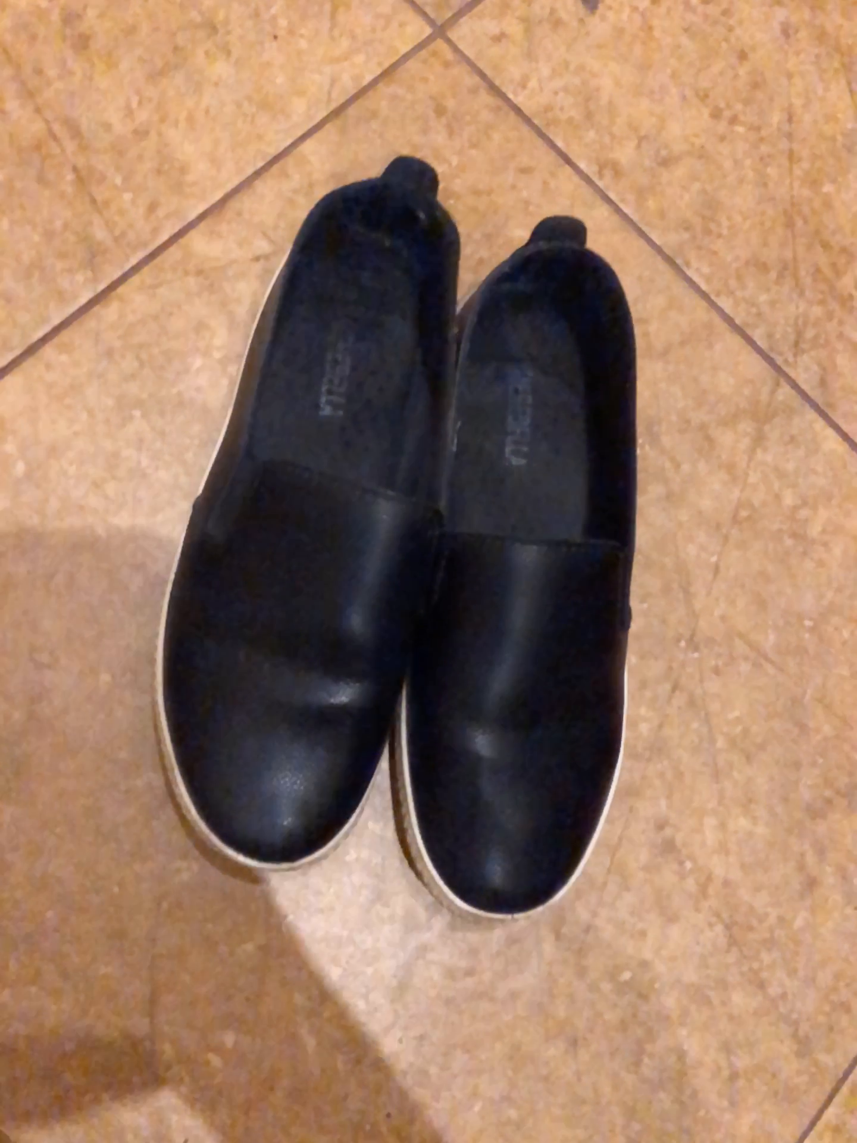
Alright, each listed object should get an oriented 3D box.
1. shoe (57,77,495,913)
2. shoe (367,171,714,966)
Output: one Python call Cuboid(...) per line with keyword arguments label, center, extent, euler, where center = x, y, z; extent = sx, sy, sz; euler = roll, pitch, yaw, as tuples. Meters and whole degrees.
Cuboid(label="shoe", center=(-0.044, -0.024, 0.311), extent=(0.090, 0.070, 0.240), euler=(10, 78, -10))
Cuboid(label="shoe", center=(0.038, -0.001, 0.325), extent=(0.090, 0.070, 0.240), euler=(6, 78, -10))
